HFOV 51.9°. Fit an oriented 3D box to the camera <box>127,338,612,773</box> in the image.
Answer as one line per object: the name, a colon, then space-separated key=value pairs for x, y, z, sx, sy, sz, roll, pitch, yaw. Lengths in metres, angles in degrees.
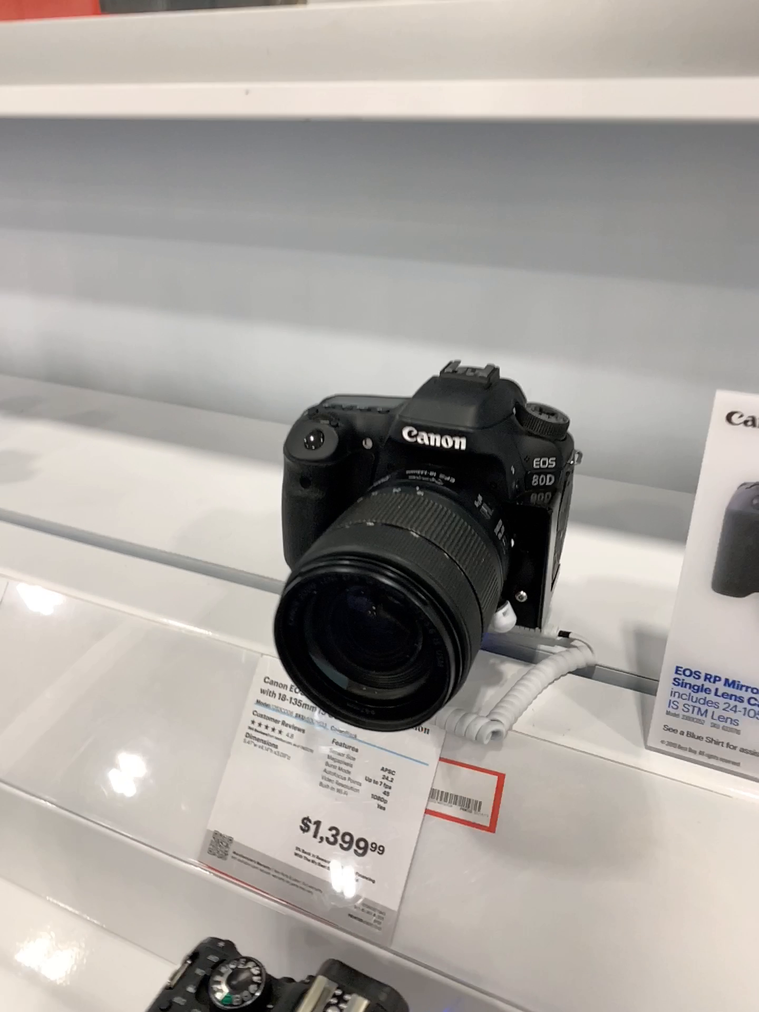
camera: x=0.010 y=0.001 z=0.347 sx=0.150 sy=0.099 sz=0.171 roll=10 pitch=27 yaw=19
